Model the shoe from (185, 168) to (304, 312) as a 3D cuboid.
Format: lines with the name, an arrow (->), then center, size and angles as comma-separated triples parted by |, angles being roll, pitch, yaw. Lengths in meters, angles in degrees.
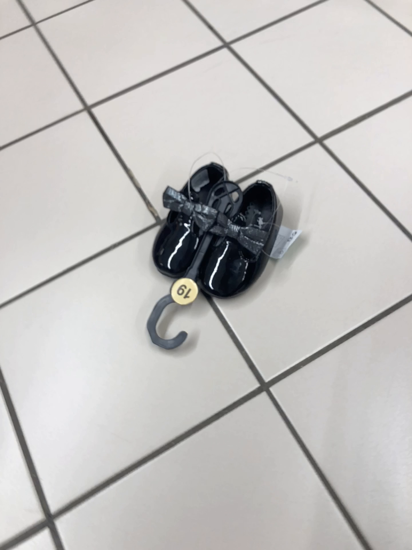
shoe -> 0.039, -0.036, 0.434 | 0.061, 0.037, 0.123 | 23, 67, 16

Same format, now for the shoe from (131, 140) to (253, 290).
shoe -> -0.009, -0.060, 0.444 | 0.061, 0.052, 0.125 | 23, 67, 16
